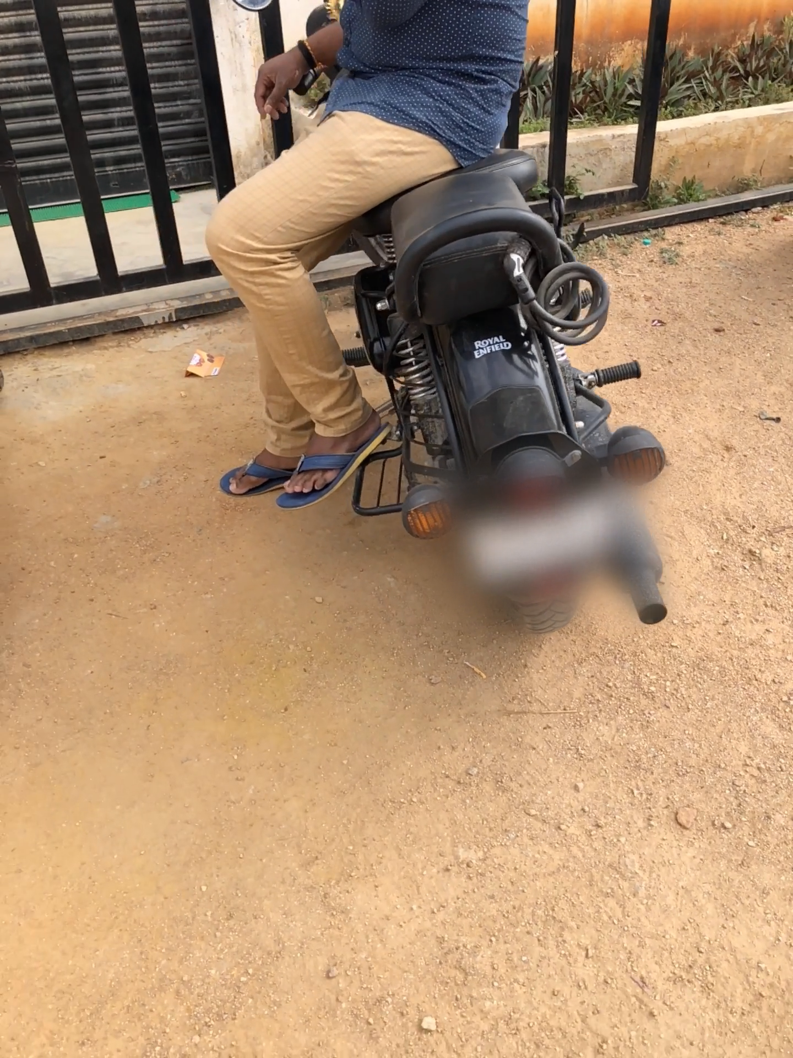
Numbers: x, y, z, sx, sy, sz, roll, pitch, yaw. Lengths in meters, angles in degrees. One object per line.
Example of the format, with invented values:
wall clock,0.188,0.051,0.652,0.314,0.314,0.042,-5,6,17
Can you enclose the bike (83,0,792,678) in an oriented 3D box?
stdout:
bike,-0.138,-0.849,1.884,0.723,1.169,1.814,-11,41,-11
